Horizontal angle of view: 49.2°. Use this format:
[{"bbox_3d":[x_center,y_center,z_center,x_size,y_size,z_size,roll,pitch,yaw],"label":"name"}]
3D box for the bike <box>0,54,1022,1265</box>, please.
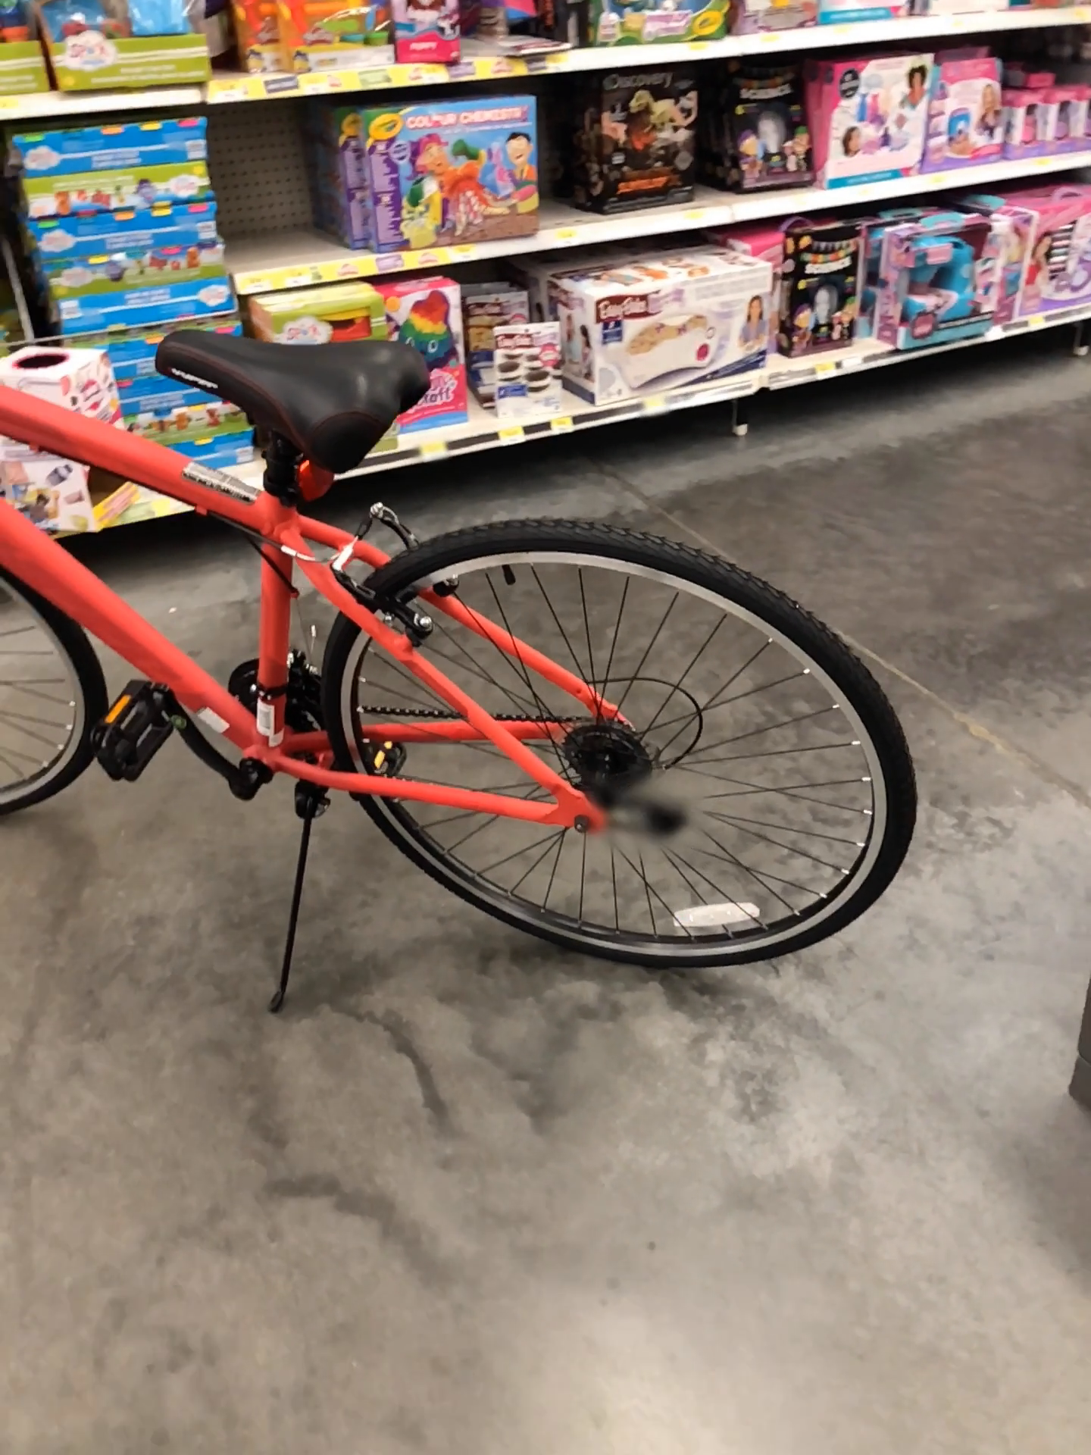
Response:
[{"bbox_3d":[-0.482,-0.112,1.360,1.687,1.000,0.616,5,35,13],"label":"bike"}]
